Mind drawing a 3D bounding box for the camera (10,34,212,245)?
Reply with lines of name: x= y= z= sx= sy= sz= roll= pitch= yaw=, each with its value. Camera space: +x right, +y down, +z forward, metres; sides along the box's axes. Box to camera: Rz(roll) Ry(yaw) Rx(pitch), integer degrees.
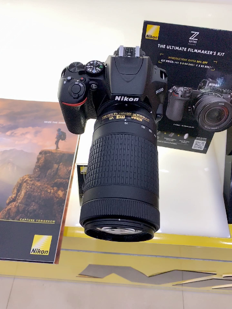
camera: x=-0.003 y=-0.018 z=0.233 sx=0.120 sy=0.100 sz=0.180 roll=0 pitch=57 yaw=0
